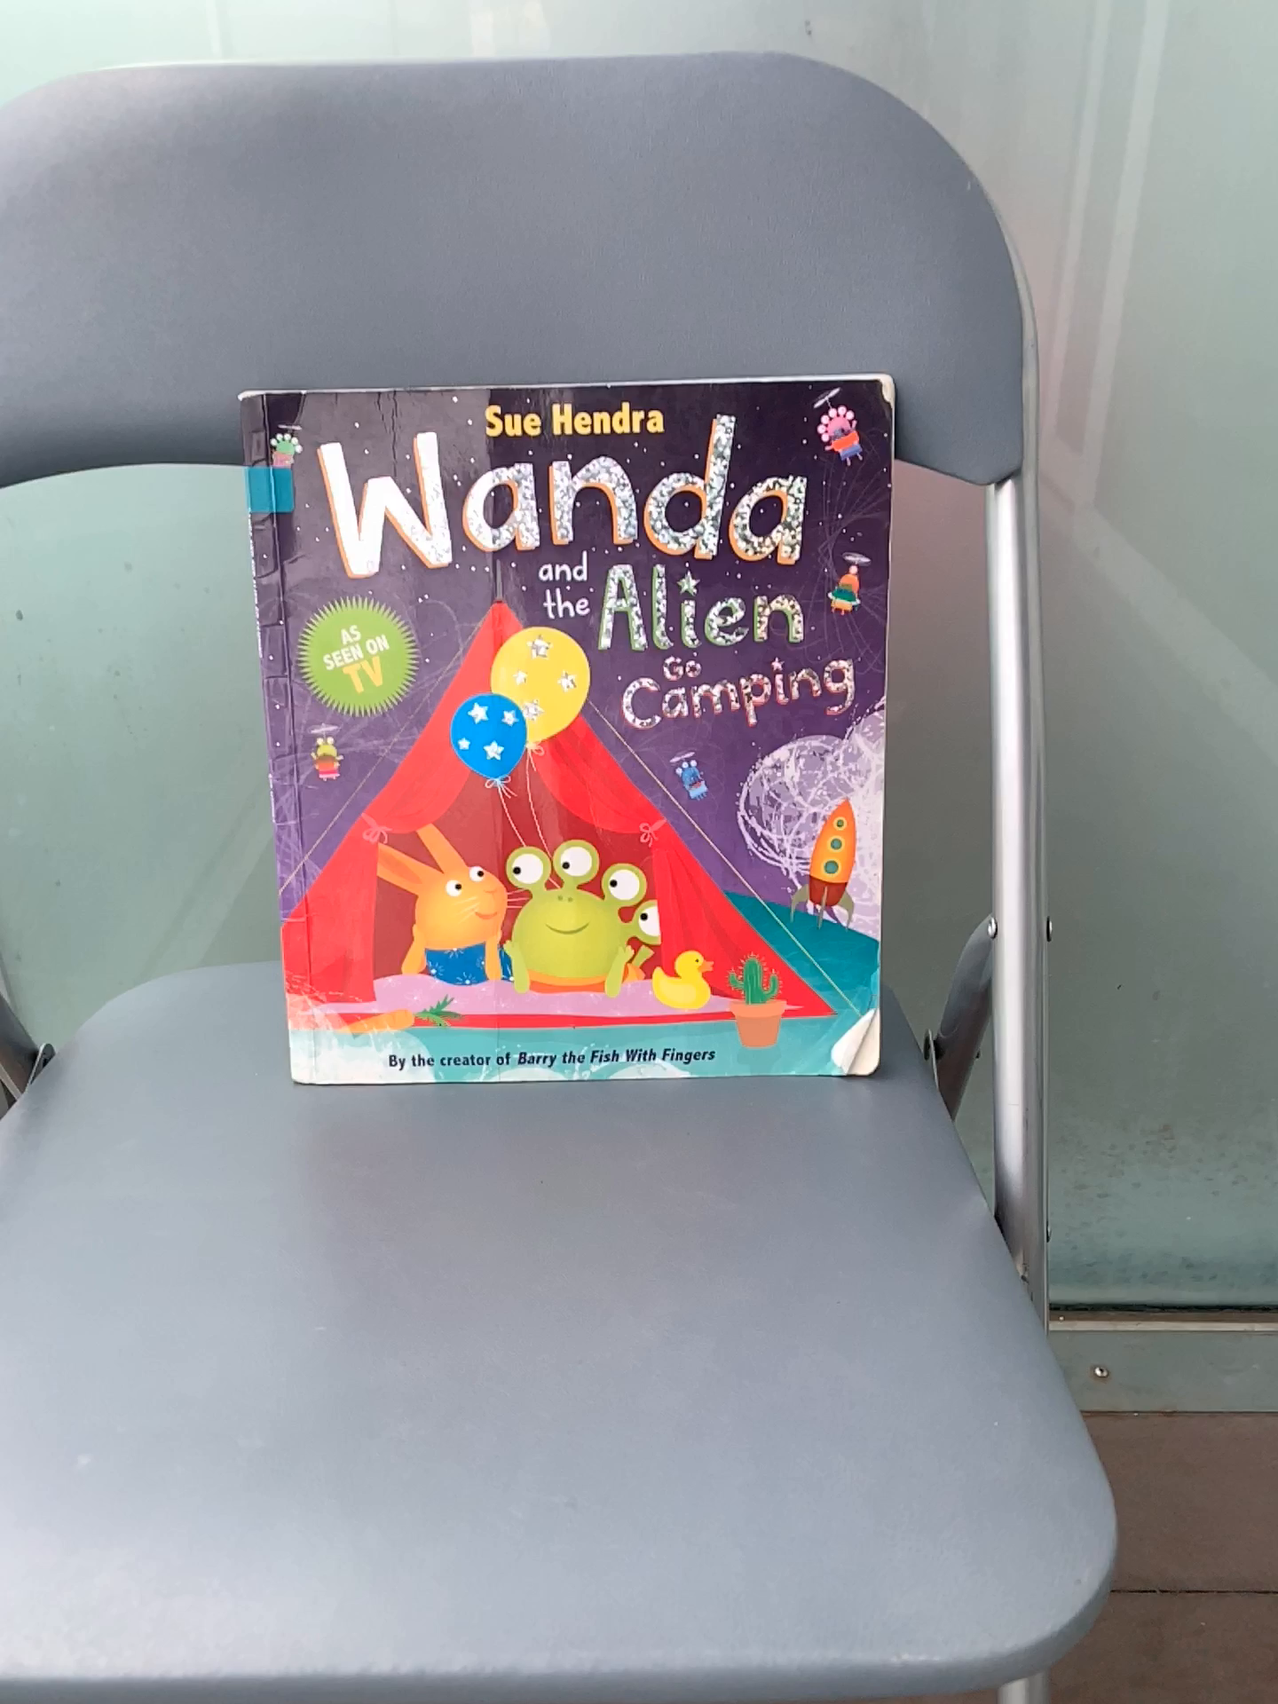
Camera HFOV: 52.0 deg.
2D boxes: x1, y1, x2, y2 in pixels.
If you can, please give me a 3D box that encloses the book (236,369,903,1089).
[{"bbox_3d":[-0.022,-0.040,0.501,0.230,0.268,0.030,-1,16,1],"label":"book"}]
